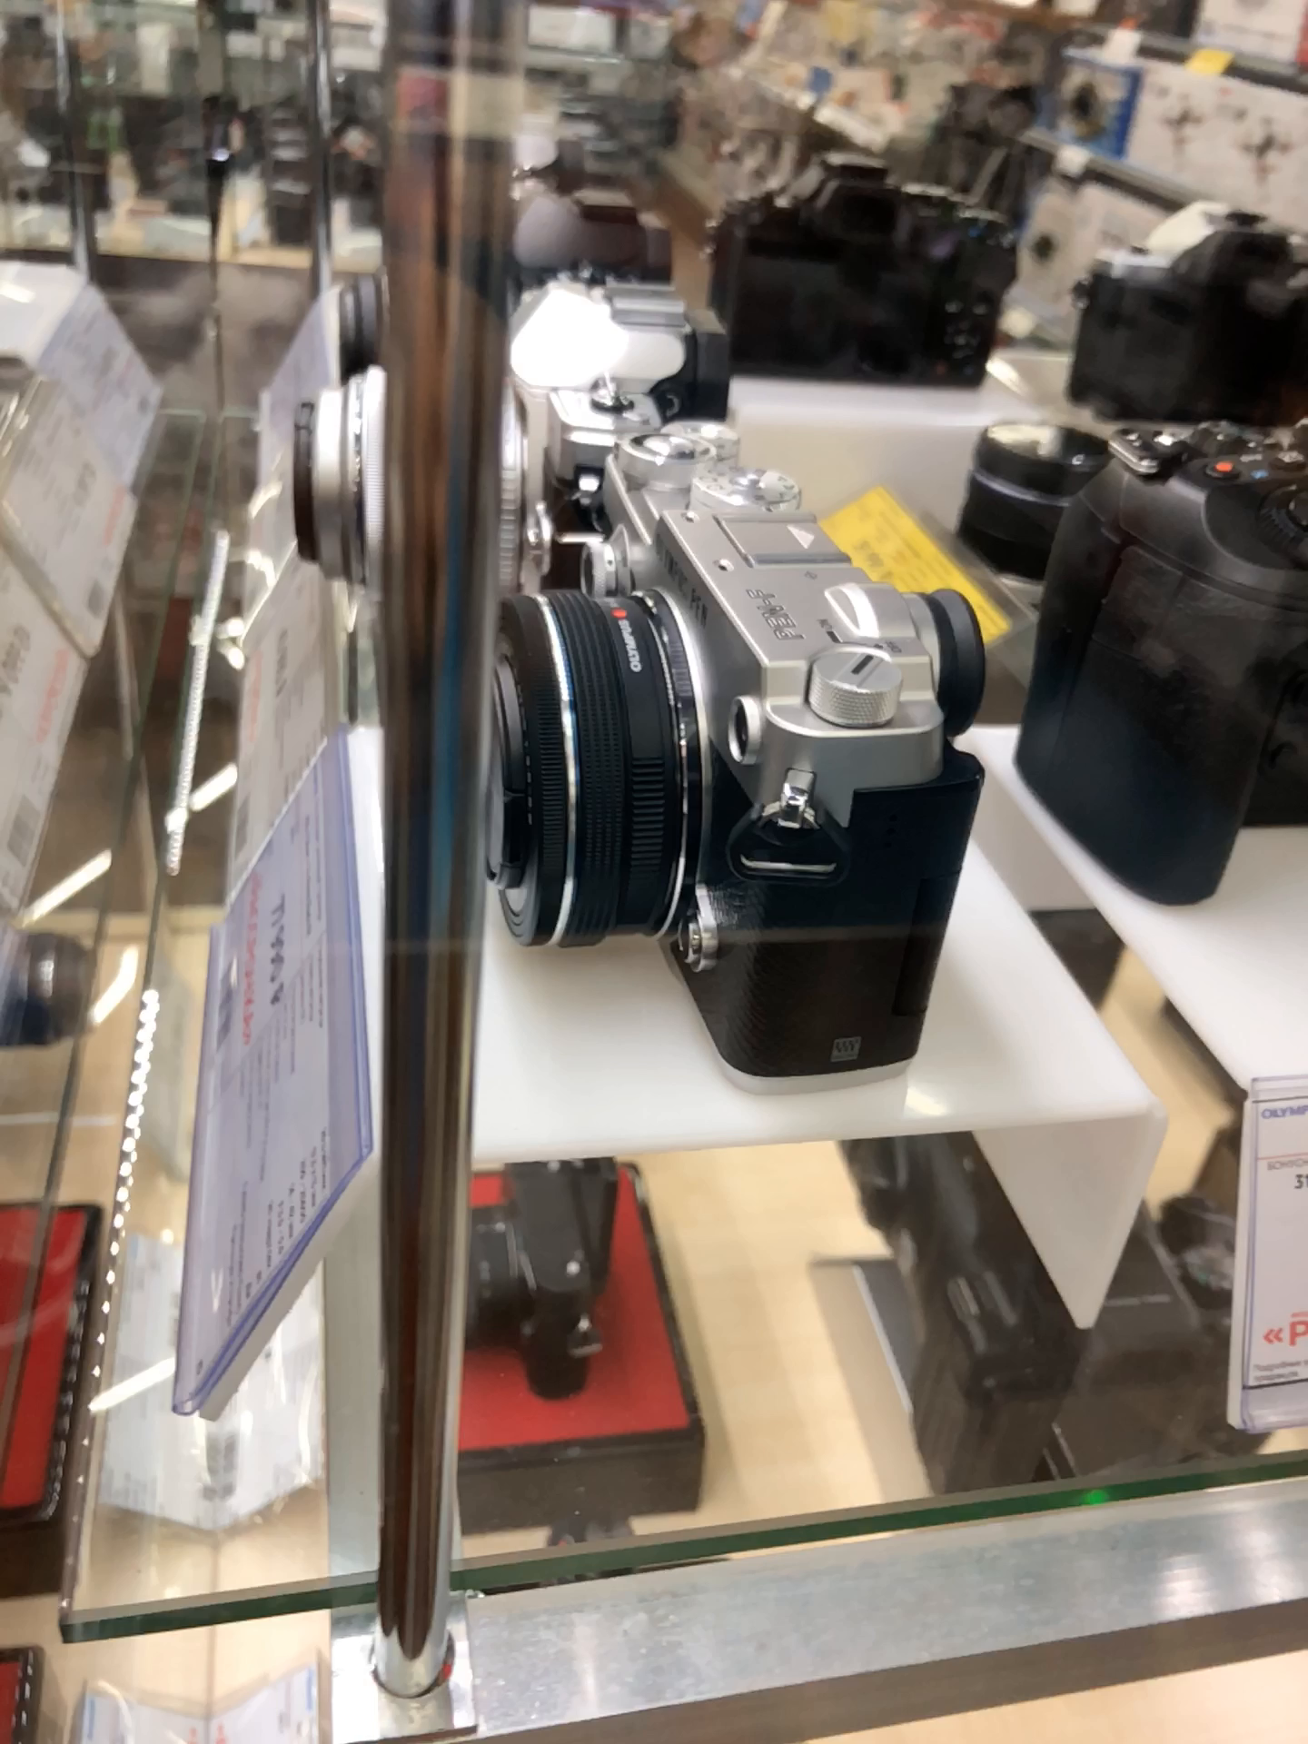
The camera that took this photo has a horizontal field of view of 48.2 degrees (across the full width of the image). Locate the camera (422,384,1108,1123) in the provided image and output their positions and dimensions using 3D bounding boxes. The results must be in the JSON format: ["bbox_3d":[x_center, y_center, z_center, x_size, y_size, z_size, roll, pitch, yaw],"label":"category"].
[{"bbox_3d":[0.005,-0.029,0.254,0.076,0.070,0.128,-2,34,-14],"label":"camera"}]

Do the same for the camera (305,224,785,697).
[{"bbox_3d":[-0.036,-0.108,0.370,0.099,0.075,0.128,-1,34,-12],"label":"camera"}]

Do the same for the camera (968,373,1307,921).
[{"bbox_3d":[0.146,-0.047,0.294,0.127,0.075,0.084,-1,34,-14],"label":"camera"}]
